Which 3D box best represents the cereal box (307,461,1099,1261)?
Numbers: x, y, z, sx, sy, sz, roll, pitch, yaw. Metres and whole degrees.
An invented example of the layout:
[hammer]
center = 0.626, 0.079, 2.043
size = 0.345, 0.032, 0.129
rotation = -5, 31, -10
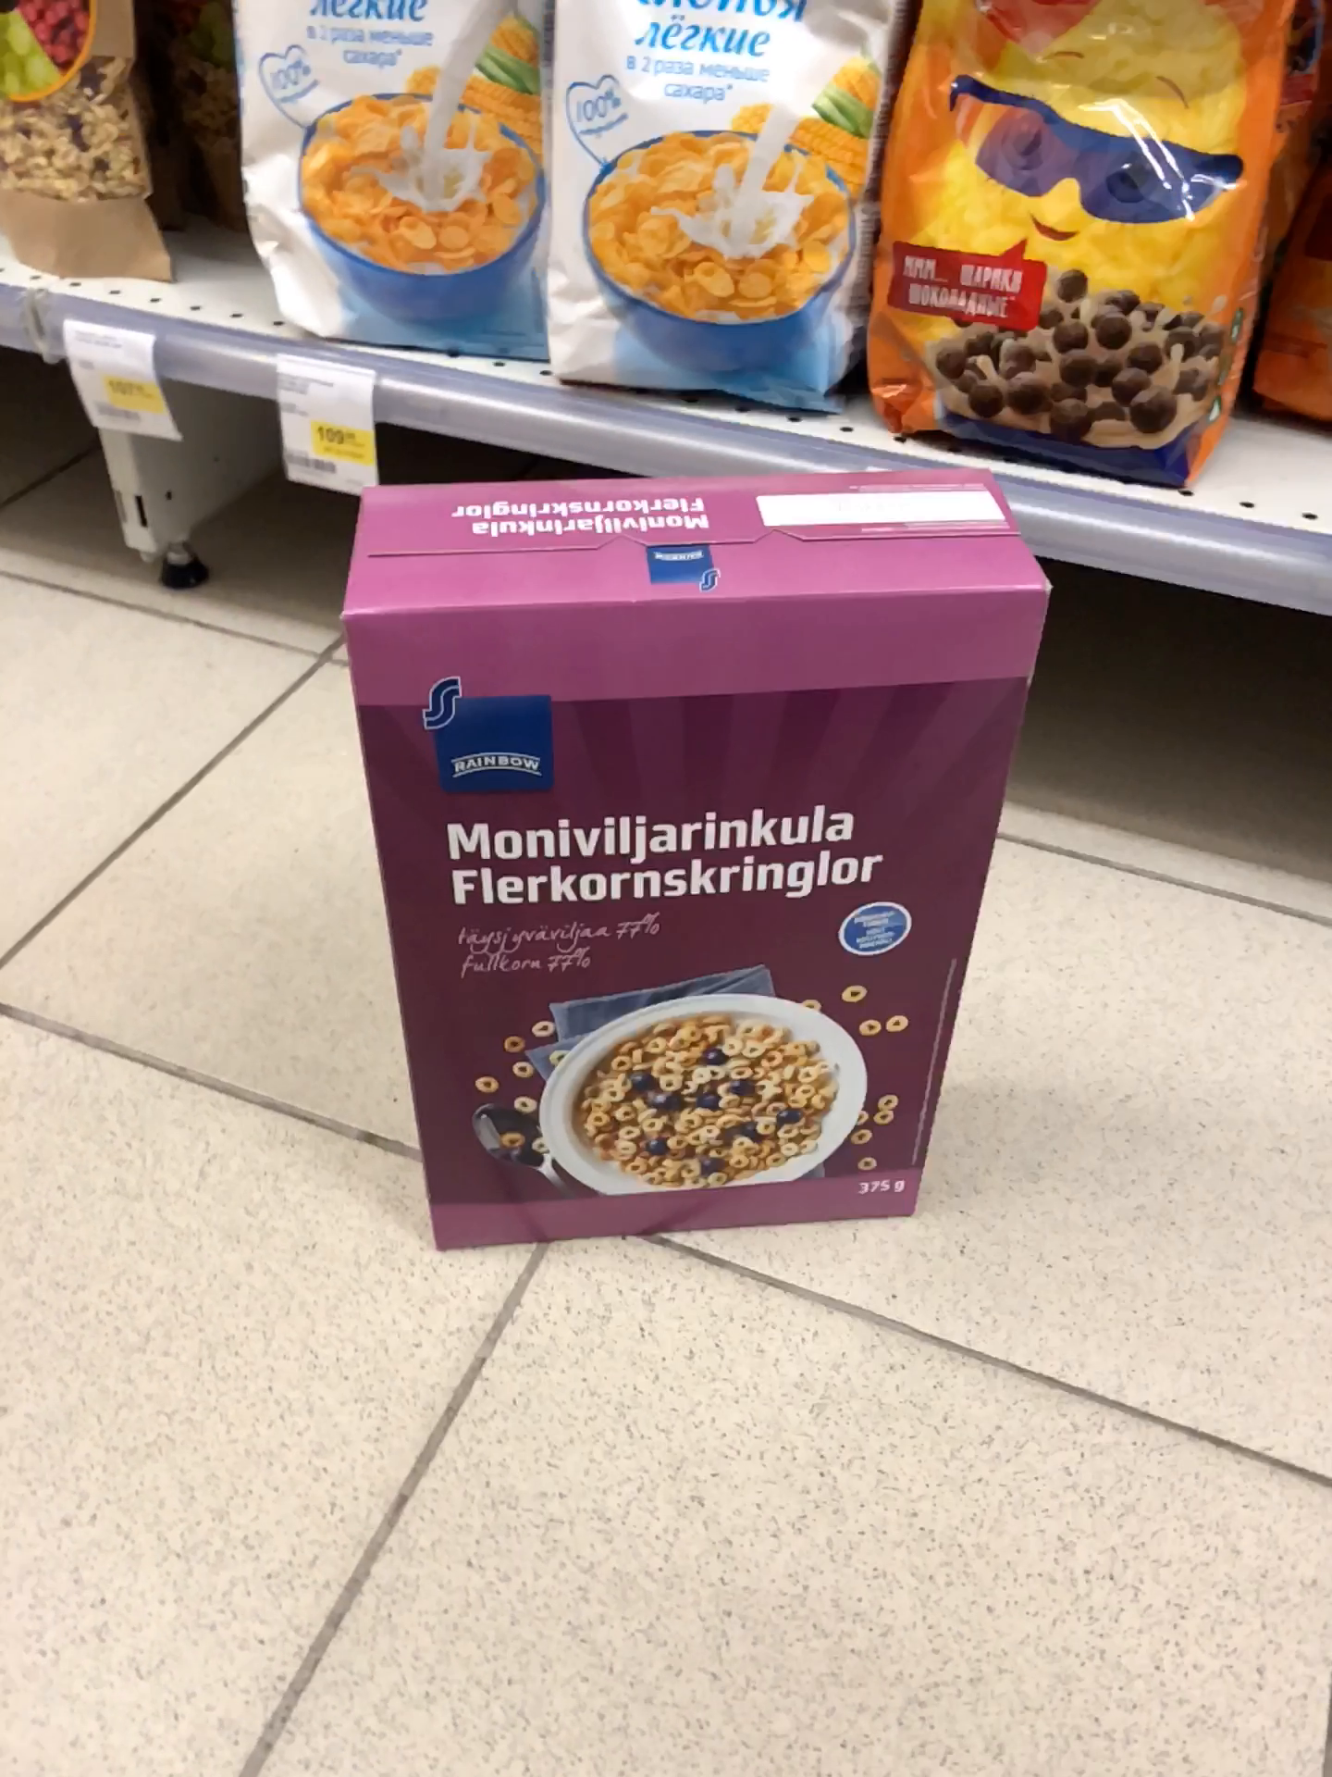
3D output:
[cereal box]
center = 0.007, 0.005, 0.507
size = 0.210, 0.278, 0.080
rotation = -3, 41, -4
